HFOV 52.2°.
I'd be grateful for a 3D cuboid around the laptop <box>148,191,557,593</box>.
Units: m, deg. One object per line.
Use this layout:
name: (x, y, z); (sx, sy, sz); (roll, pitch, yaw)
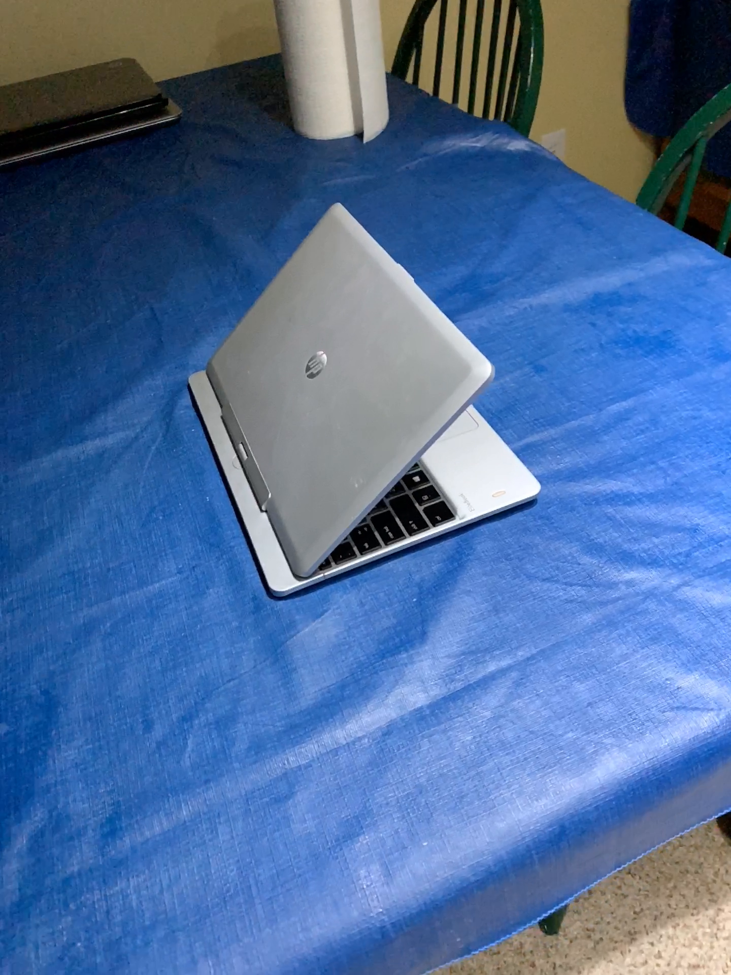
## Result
laptop: (-0.024, -0.094, 0.577); (0.207, 0.122, 0.281); (-20, 45, -11)
